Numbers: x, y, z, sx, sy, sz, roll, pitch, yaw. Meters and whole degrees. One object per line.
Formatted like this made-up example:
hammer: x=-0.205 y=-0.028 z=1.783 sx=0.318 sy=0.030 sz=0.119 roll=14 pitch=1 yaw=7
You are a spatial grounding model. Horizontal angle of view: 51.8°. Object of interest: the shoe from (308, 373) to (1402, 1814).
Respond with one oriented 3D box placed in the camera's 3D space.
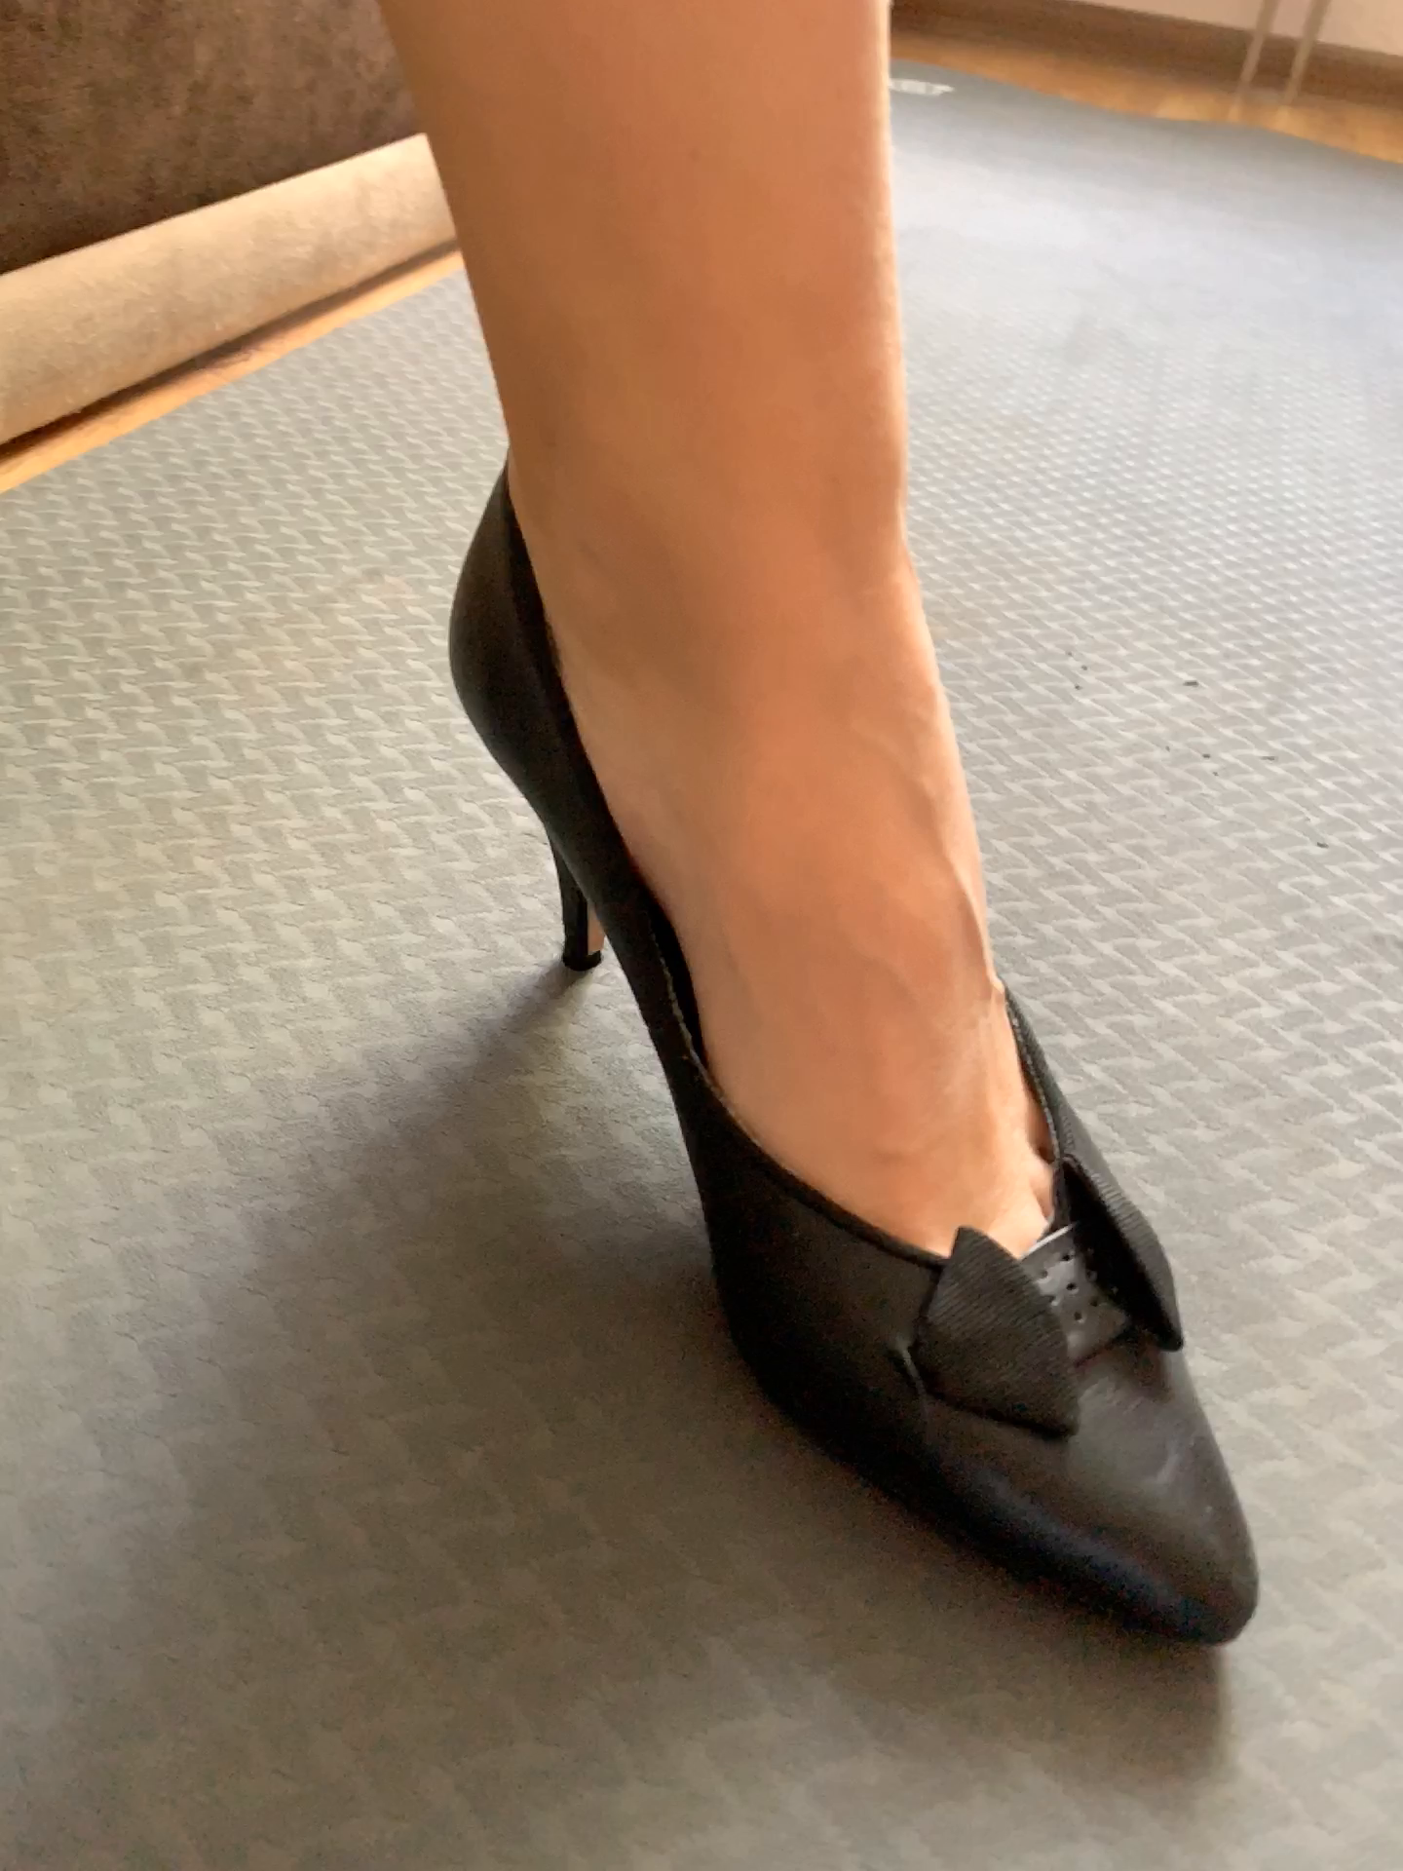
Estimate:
shoe: x=0.026 y=-0.003 z=0.247 sx=0.090 sy=0.099 sz=0.231 roll=-20 pitch=46 yaw=-31
